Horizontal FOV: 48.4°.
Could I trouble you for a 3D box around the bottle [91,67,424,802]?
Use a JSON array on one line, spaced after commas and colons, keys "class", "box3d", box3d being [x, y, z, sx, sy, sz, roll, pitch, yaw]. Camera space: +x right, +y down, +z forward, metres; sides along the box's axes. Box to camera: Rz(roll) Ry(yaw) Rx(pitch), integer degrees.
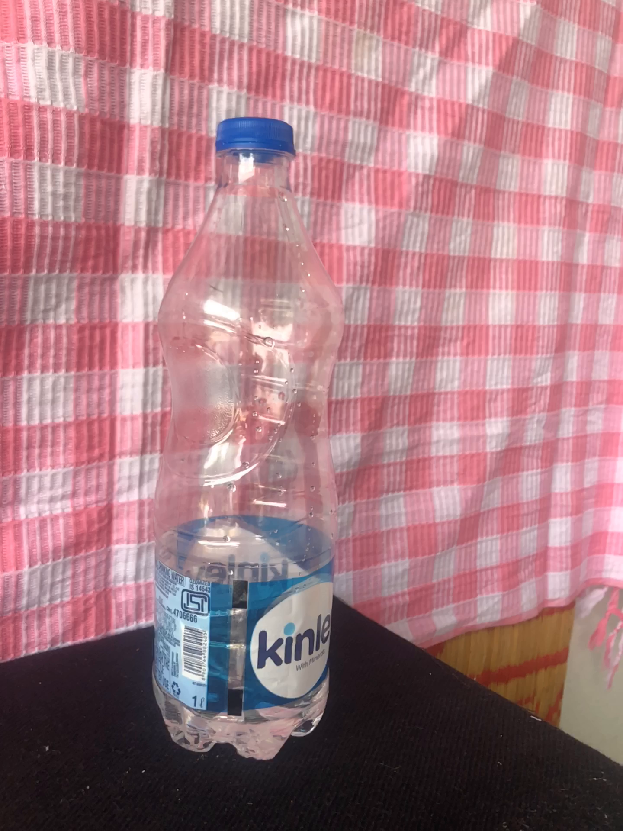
[{"class": "bottle", "box3d": [-0.025, 0.007, 0.298, 0.080, 0.259, 0.090, 13, 12, 34]}]
